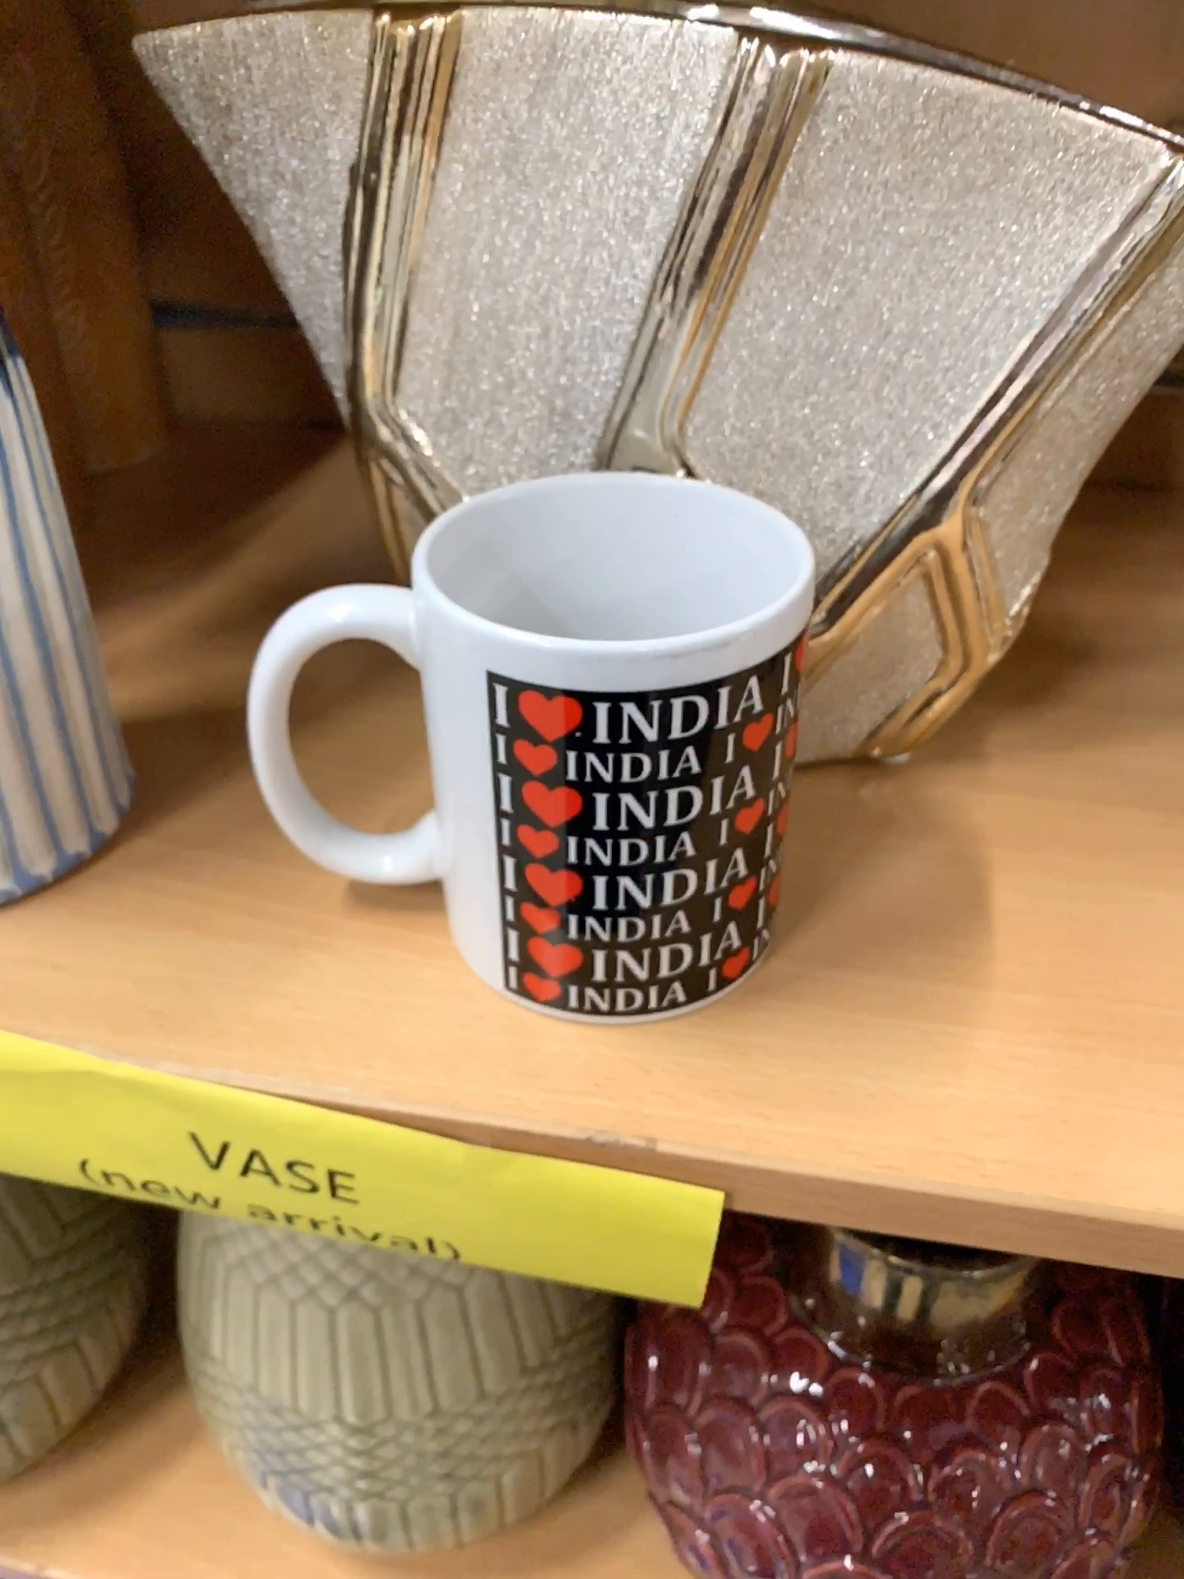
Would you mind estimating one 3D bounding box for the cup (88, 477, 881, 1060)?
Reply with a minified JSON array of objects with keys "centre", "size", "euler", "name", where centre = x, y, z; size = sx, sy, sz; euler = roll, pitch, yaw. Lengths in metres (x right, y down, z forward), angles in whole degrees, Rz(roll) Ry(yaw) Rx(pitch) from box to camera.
[{"centre":[-0.018,-0.008,0.265],"size":[0.130,0.090,0.090],"euler":[0,34,0],"name":"cup"}]
